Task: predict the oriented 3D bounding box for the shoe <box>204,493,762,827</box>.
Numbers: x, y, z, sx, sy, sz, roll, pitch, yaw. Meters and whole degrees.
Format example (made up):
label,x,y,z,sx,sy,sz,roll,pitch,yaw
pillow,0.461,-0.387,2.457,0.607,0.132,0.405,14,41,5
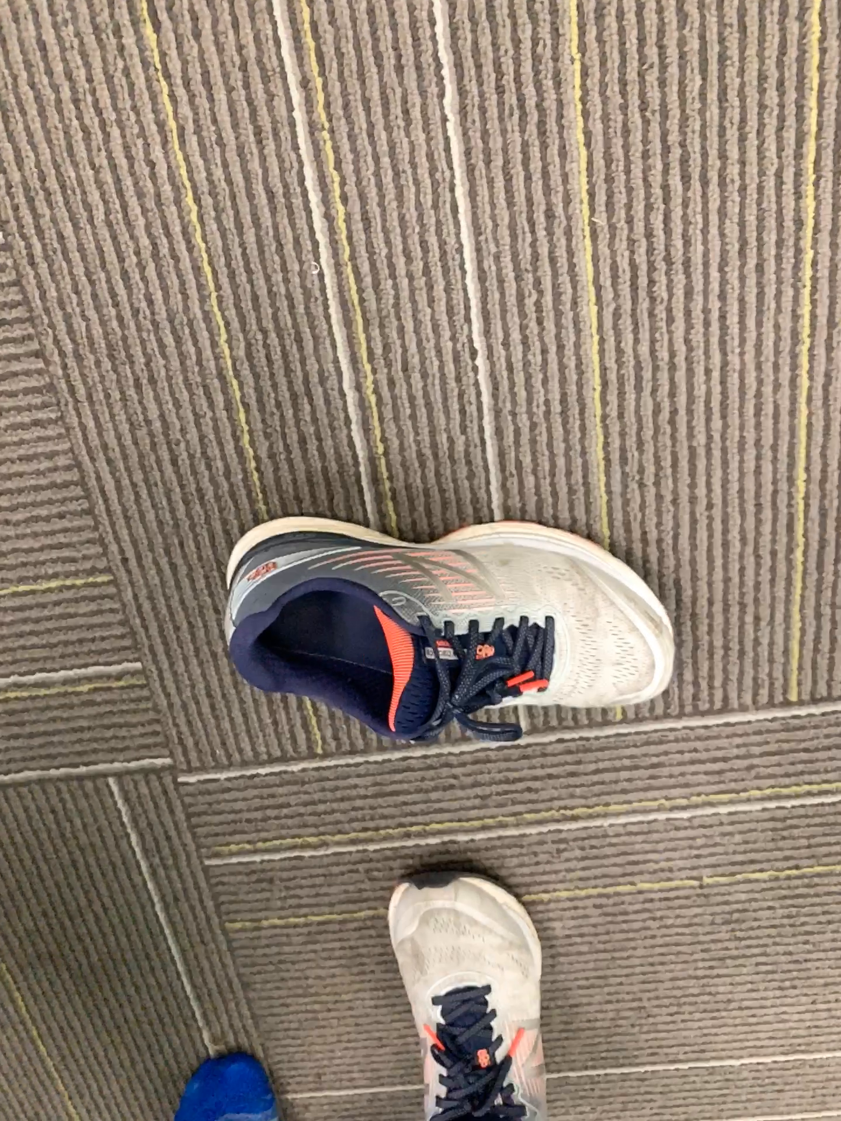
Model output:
label,x,y,z,sx,sy,sz,roll,pitch,yaw
shoe,0.026,0.049,0.479,0.260,0.119,0.110,7,115,-1
